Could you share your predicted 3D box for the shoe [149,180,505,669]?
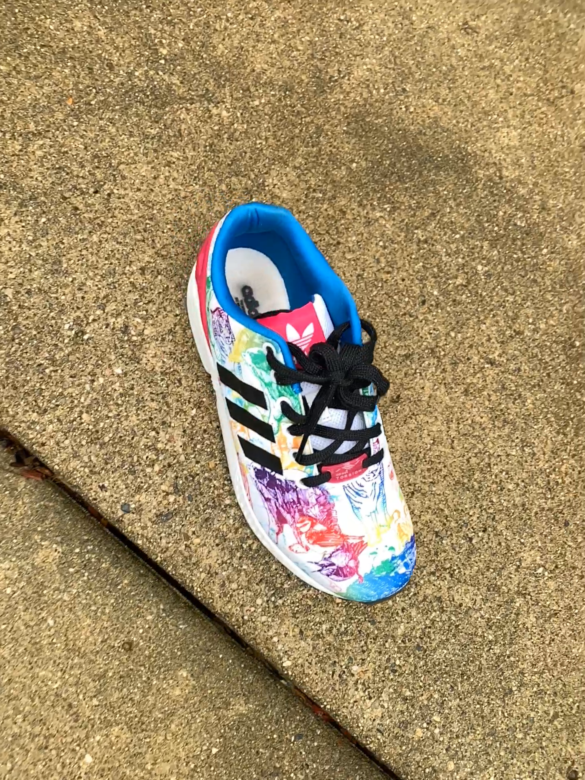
[{"bbox_3d":[0.008,0.017,0.374,0.110,0.105,0.245,-19,83,-19],"label":"shoe"}]
